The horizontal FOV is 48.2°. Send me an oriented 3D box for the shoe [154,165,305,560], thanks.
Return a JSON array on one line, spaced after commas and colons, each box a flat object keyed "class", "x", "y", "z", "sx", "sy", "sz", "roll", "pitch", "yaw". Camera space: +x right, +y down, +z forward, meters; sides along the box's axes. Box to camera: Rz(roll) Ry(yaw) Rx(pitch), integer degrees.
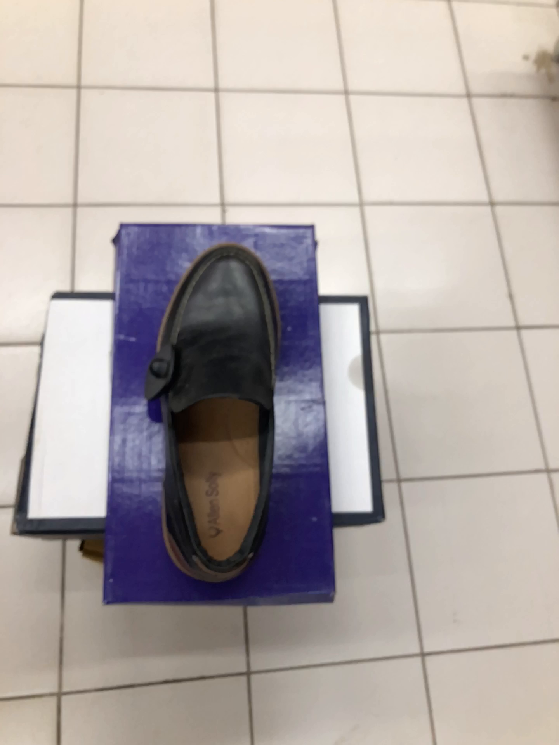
[{"class": "shoe", "x": -0.047, "y": -0.008, "z": 0.512, "sx": 0.100, "sy": 0.110, "sz": 0.301, "roll": -1, "pitch": 72, "yaw": -8}]
